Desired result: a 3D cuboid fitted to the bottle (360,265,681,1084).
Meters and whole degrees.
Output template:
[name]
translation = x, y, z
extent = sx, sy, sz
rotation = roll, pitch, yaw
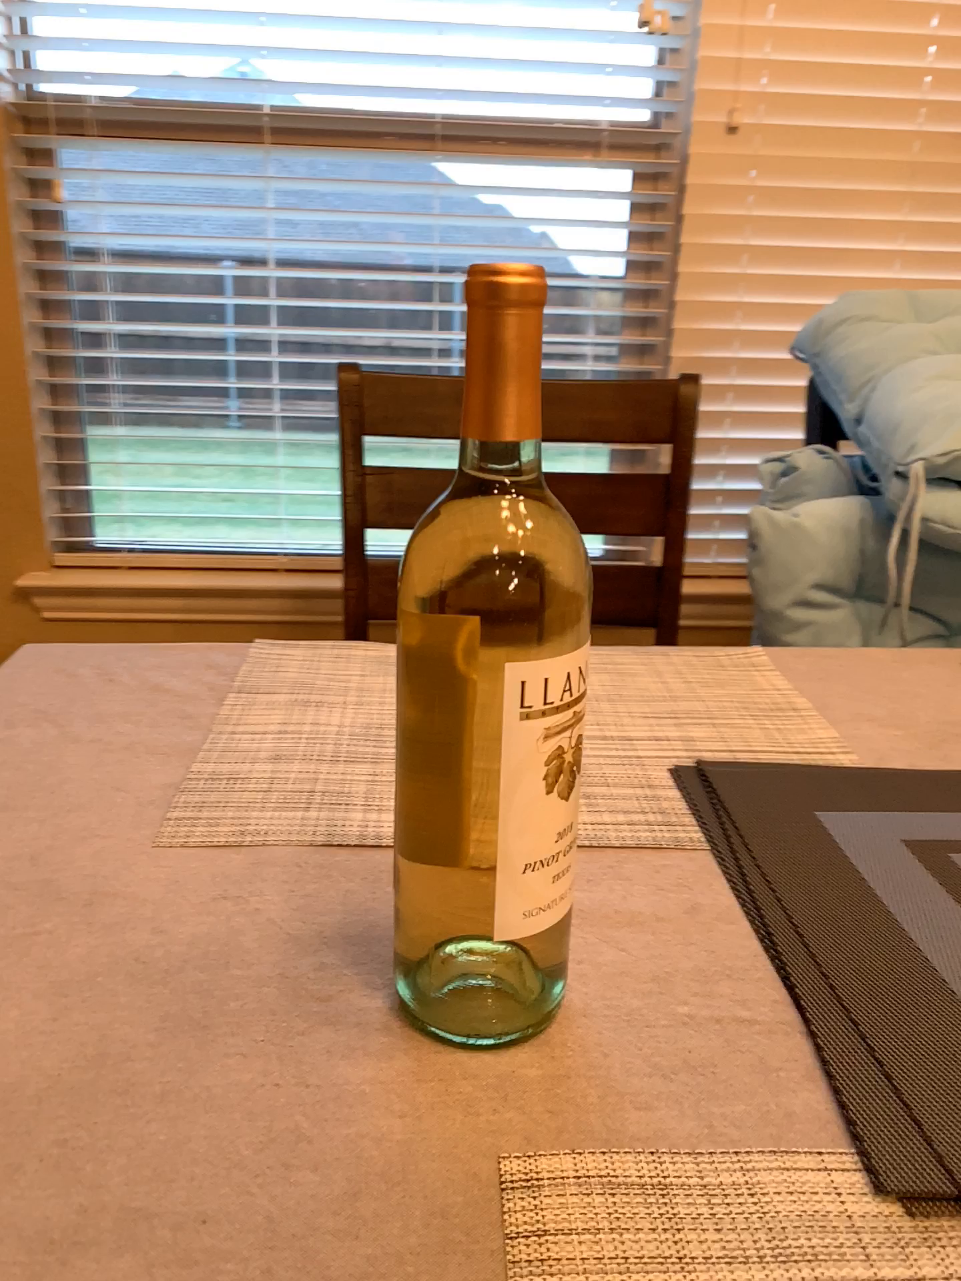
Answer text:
[bottle]
translation = 0.010, 0.012, 0.393
extent = 0.080, 0.299, 0.084
rotation = 2, 18, -1
